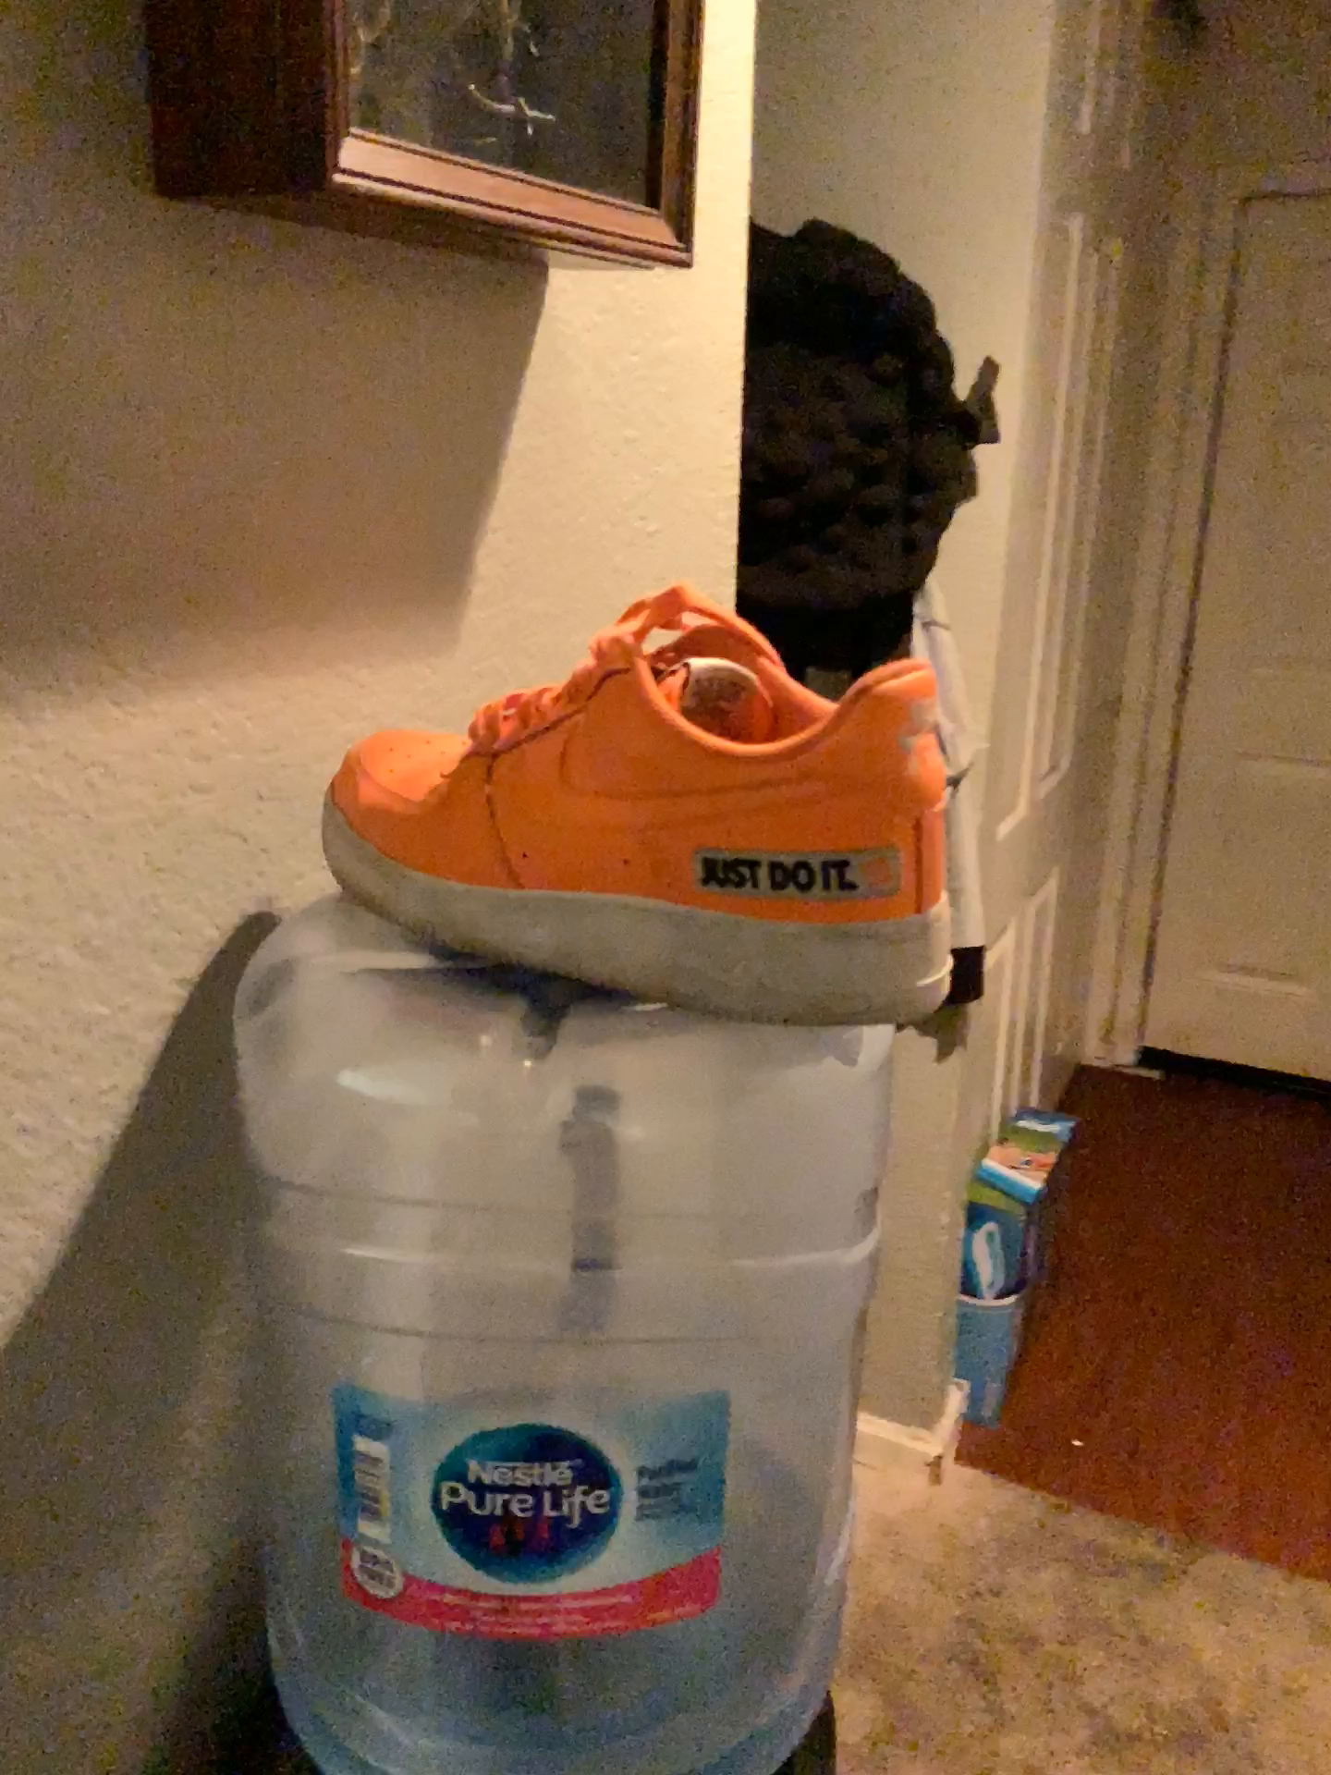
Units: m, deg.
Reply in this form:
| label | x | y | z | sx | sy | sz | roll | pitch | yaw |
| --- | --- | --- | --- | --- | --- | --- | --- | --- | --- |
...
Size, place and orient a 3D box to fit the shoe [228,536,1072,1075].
| label | x | y | z | sx | sy | sz | roll | pitch | yaw |
| --- | --- | --- | --- | --- | --- | --- | --- | --- | --- |
| shoe | -0.018 | -0.051 | 0.567 | 0.300 | 0.140 | 0.120 | 13 | 21 | 34 |
